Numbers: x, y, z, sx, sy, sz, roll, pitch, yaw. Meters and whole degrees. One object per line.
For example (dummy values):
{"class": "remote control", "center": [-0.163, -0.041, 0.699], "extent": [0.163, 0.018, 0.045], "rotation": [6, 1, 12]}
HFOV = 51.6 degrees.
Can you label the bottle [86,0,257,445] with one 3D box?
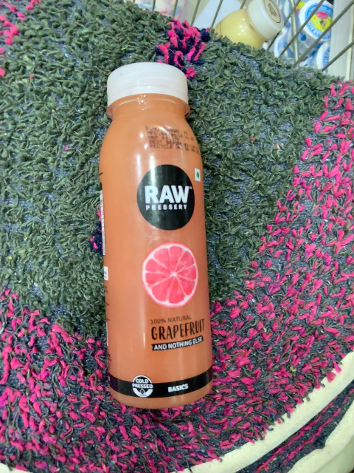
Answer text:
{"class": "bottle", "center": [-0.009, -0.007, 0.167], "extent": [0.060, 0.060, 0.160], "rotation": [-1, 86, -14]}
